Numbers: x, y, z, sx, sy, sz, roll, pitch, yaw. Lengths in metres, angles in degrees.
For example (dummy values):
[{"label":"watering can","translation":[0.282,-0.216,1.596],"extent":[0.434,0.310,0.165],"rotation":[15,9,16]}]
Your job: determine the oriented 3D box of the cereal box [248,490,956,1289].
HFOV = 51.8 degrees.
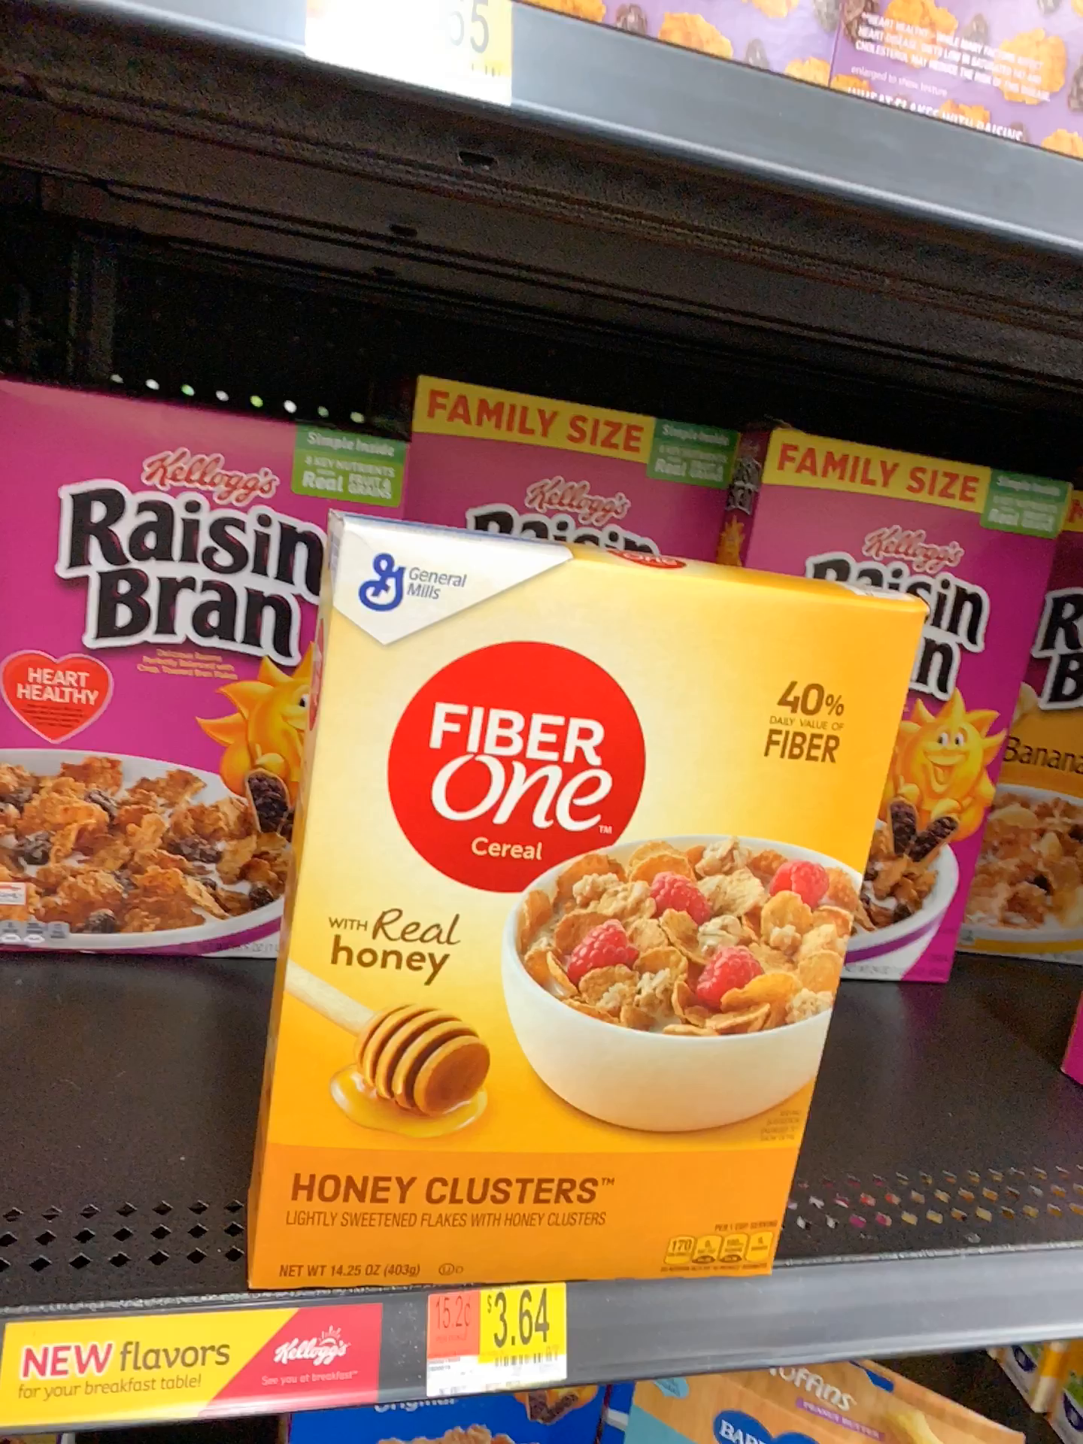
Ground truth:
[{"label":"cereal box","translation":[0.013,0.065,0.389],"extent":[0.200,0.259,0.050],"rotation":[5,13,-14]}]
